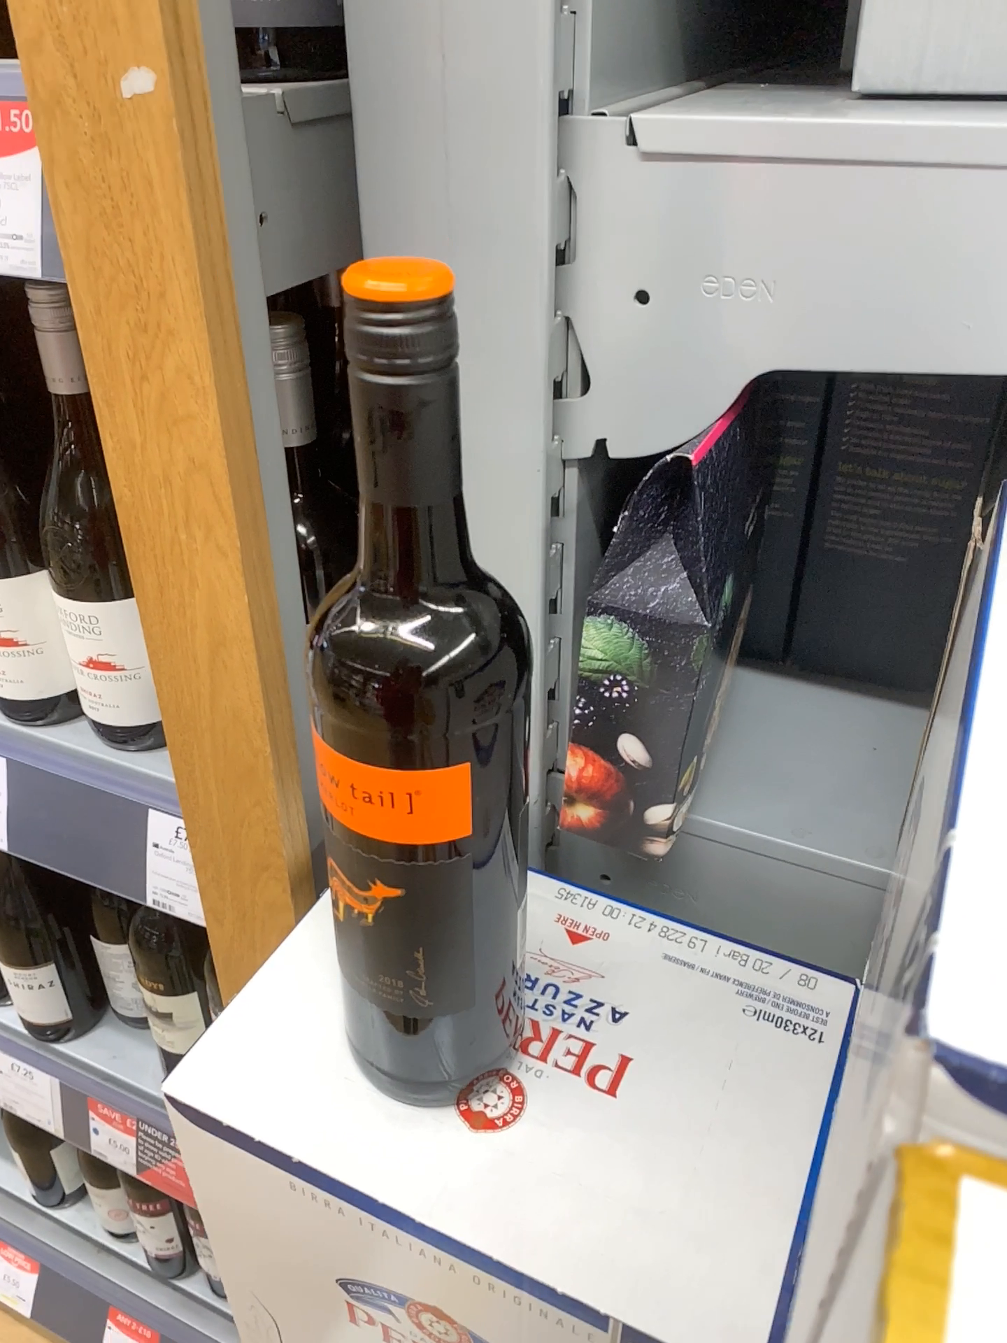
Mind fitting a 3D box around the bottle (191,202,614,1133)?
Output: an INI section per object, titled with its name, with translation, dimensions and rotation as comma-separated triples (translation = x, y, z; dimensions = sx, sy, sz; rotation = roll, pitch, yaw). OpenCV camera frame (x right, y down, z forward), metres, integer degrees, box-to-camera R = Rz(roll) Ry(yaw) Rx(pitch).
[bottle]
translation = -0.025, 0.014, 0.344
dimensions = 0.076, 0.297, 0.078
rotation = 0, 33, 0
